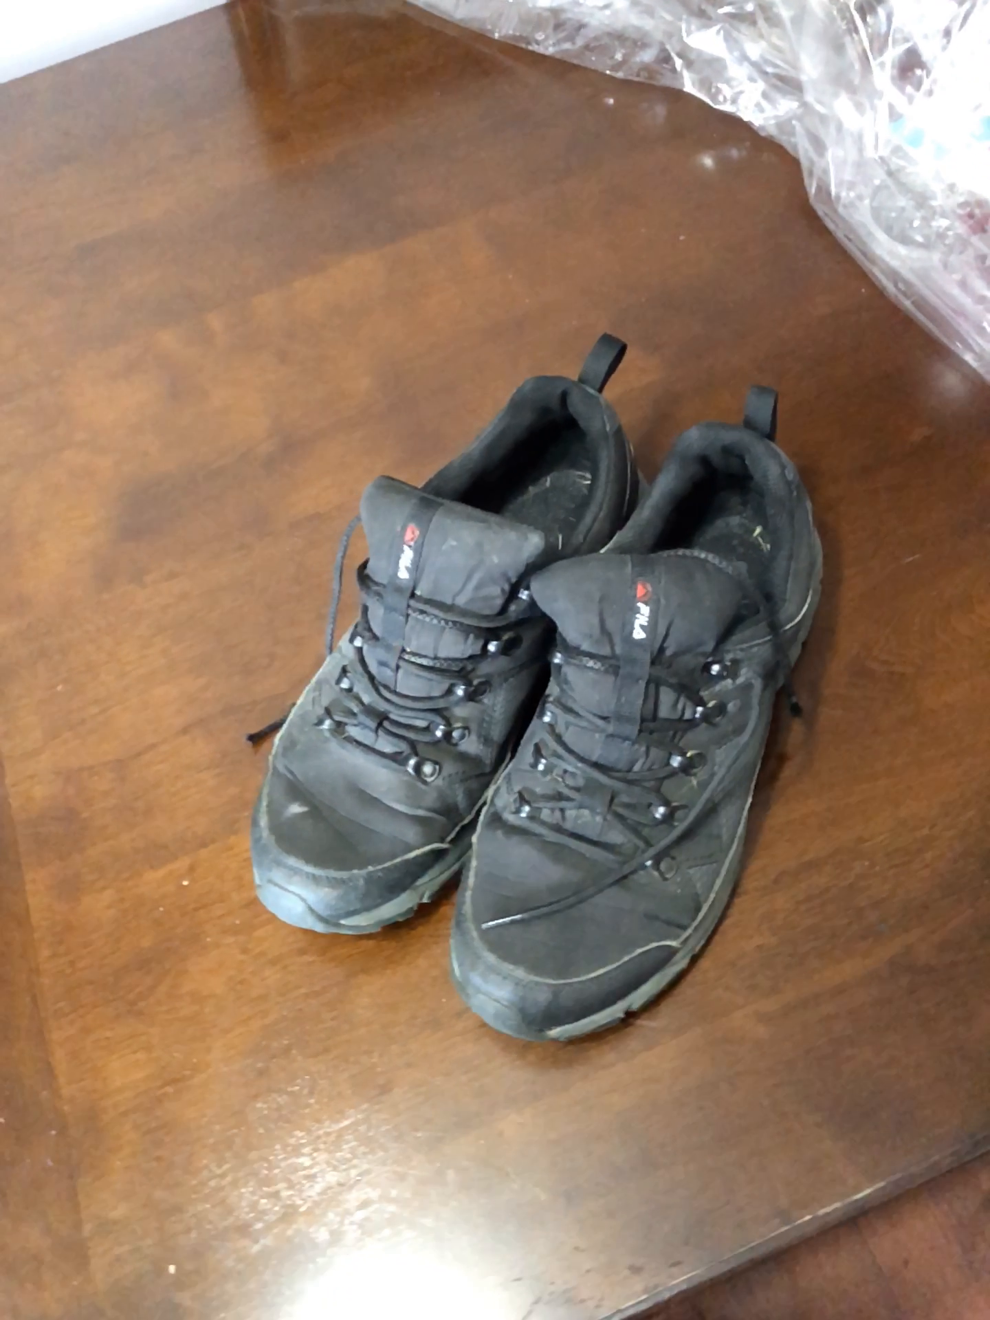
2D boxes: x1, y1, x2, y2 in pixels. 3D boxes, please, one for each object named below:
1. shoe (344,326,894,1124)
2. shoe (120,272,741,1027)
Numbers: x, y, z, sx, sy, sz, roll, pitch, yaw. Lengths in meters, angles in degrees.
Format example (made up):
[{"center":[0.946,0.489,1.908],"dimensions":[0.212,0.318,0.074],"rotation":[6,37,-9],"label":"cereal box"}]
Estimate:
[{"center":[0.072,0.023,0.513],"dimensions":[0.120,0.150,0.320],"rotation":[18,64,17],"label":"shoe"},{"center":[-0.007,-0.008,0.550],"dimensions":[0.120,0.170,0.320],"rotation":[25,67,20],"label":"shoe"}]
